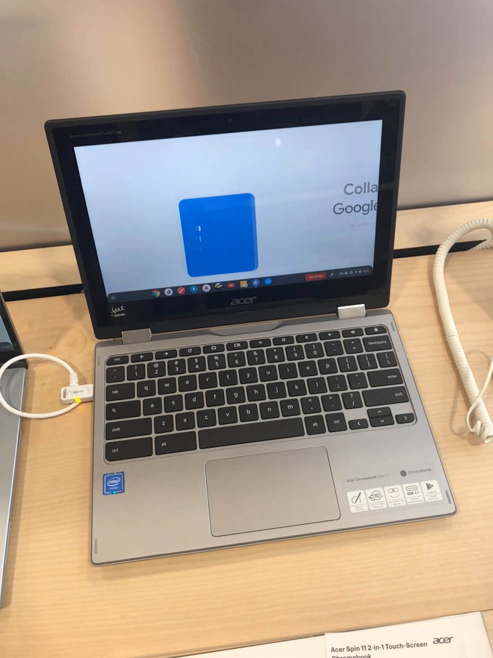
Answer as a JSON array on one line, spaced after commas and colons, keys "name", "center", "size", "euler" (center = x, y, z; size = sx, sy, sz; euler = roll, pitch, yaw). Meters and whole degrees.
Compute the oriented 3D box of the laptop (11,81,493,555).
[{"name": "laptop", "center": [0.006, -0.014, 0.433], "size": [0.287, 0.176, 0.296], "euler": [-7, 58, -4]}]
